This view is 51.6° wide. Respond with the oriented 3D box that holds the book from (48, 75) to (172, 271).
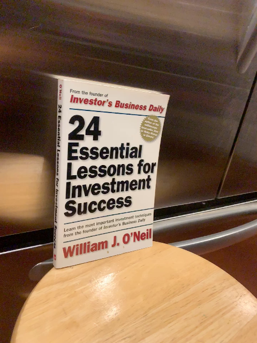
[{"bbox_3d":[-0.025,0.004,0.352,0.150,0.229,0.030,-3,15,-31],"label":"book"}]
